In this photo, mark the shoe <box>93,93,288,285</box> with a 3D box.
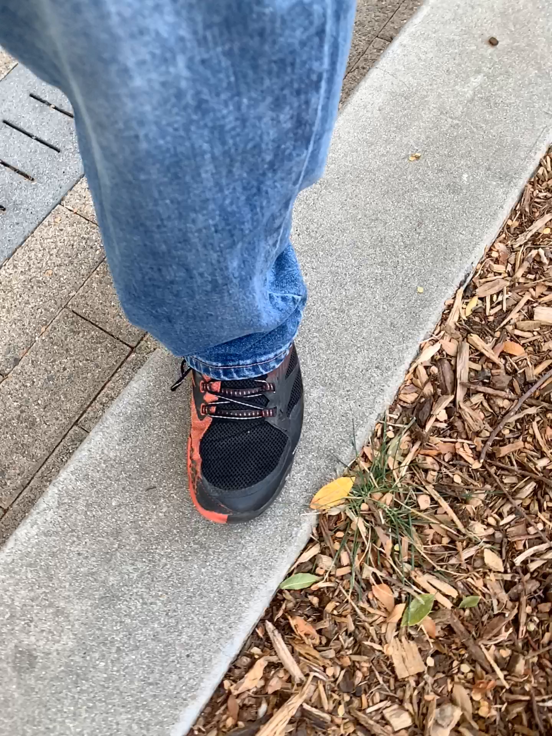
[{"bbox_3d":[-0.133,-0.302,0.937,0.137,0.080,0.306,38,77,18],"label":"shoe"}]

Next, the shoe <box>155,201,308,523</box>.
[{"bbox_3d":[-0.033,-0.011,0.562,0.122,0.080,0.310,0,68,6],"label":"shoe"}]
